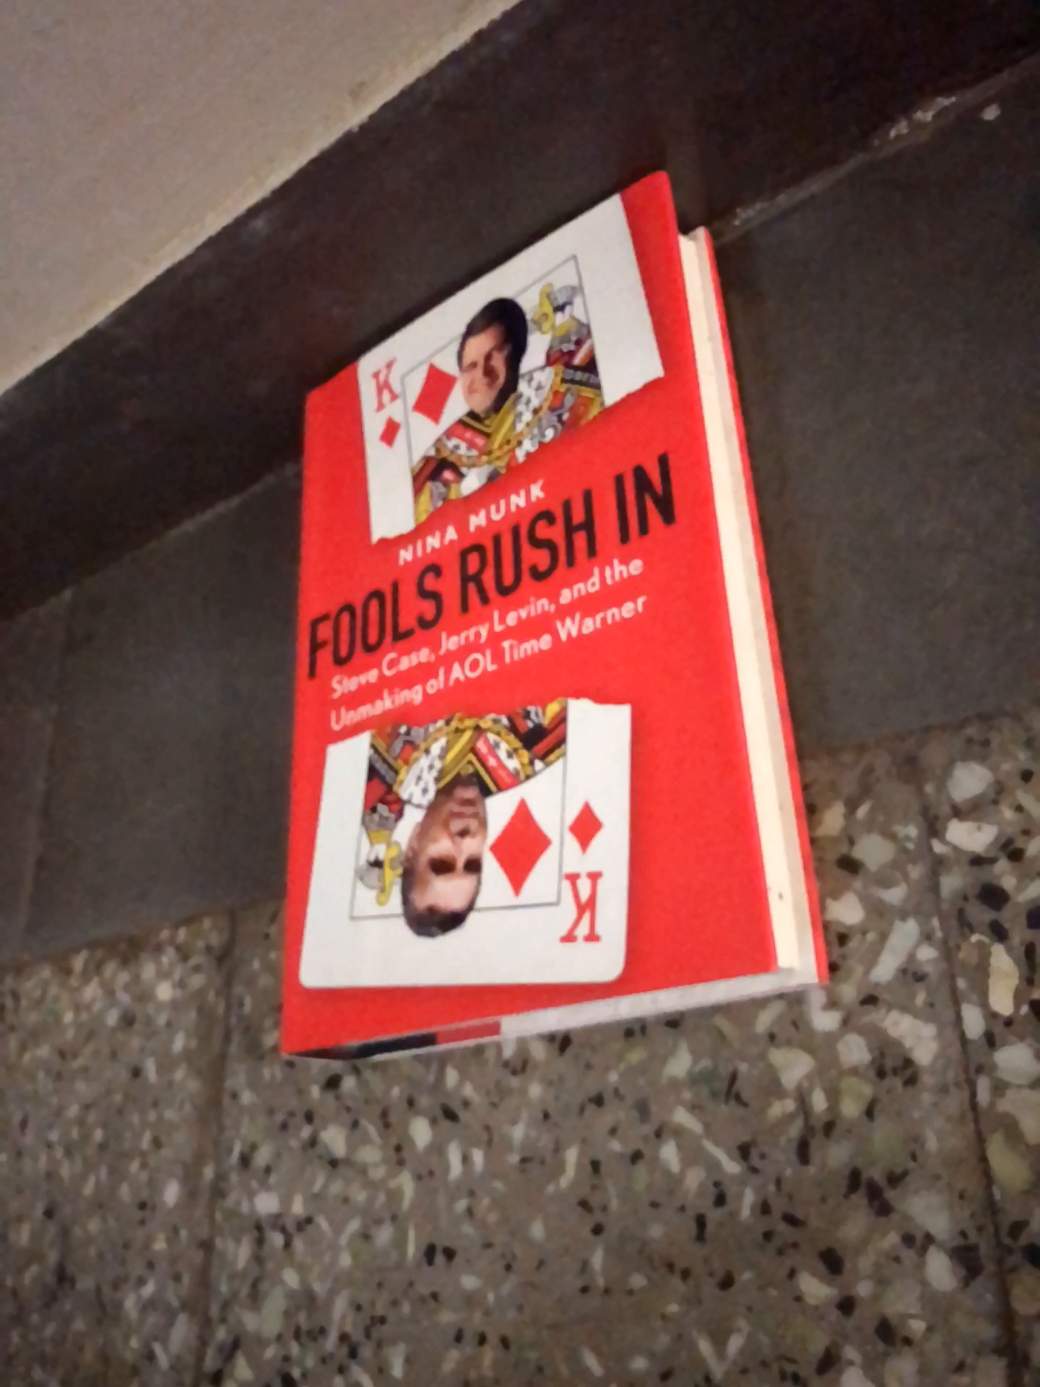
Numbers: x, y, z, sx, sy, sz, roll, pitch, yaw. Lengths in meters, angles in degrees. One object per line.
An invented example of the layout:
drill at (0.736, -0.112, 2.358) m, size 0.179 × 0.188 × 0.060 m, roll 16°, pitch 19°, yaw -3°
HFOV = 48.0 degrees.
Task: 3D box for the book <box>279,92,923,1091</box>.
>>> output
book at (0.004, -0.031, 0.359) m, size 0.181 × 0.030 × 0.270 m, roll -21°, pitch 59°, yaw 33°
